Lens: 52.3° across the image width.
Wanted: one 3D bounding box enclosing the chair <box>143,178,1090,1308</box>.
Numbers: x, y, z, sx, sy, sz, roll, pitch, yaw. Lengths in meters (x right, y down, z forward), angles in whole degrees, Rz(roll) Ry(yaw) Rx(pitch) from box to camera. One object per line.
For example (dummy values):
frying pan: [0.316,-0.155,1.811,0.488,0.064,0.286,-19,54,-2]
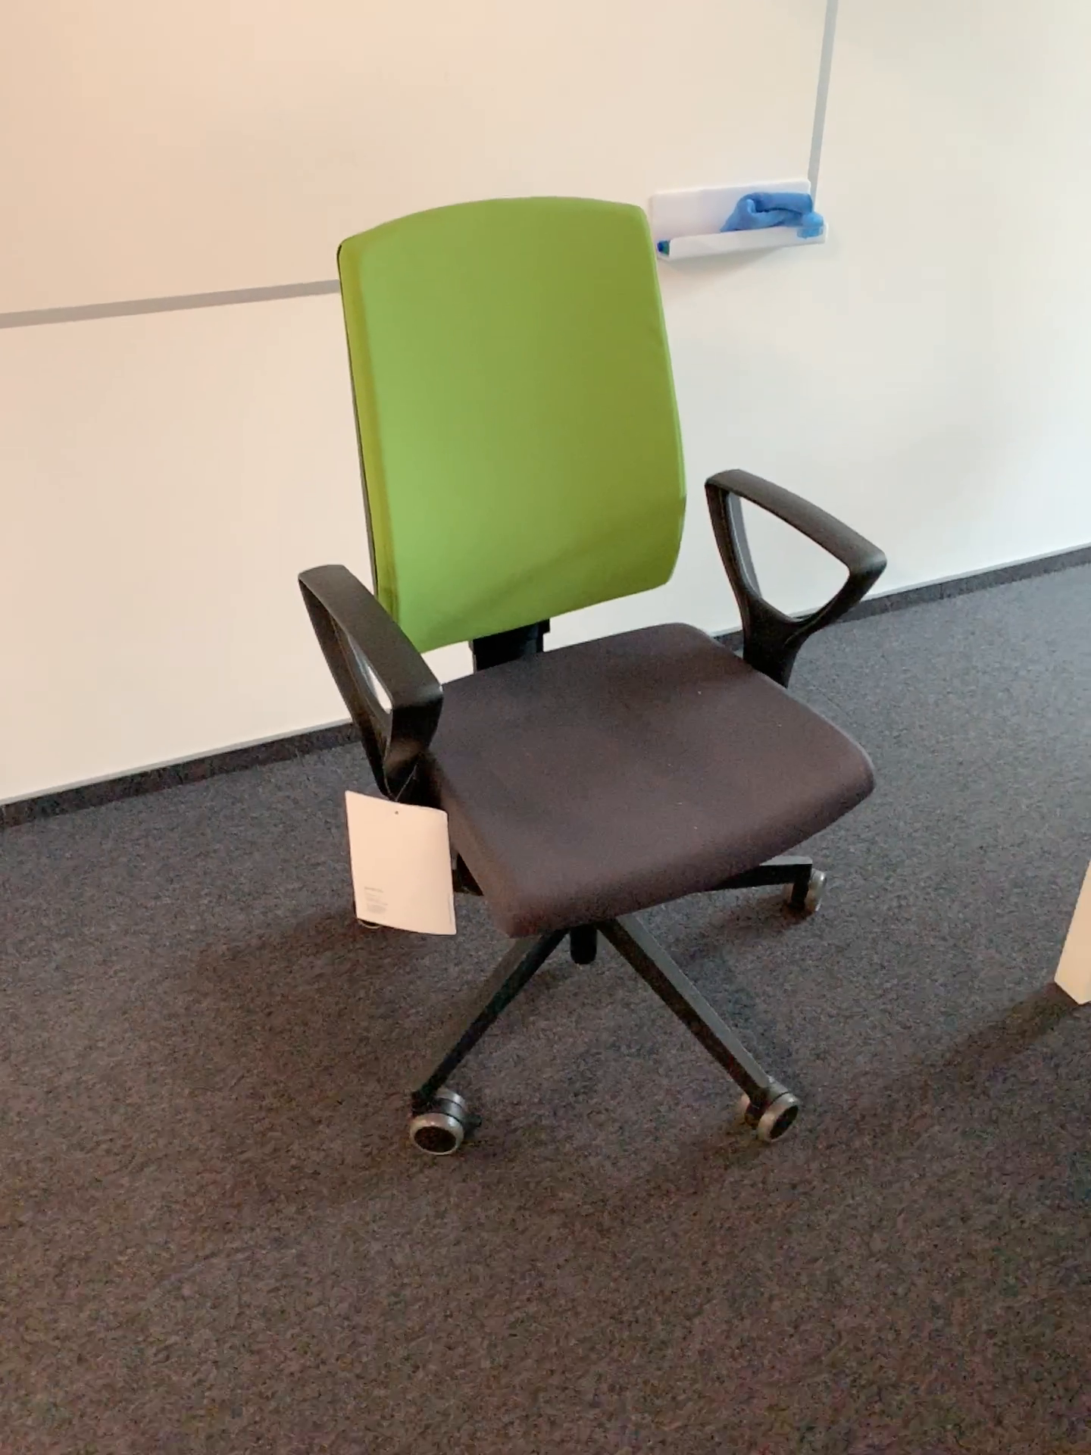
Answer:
chair: [0.082,-0.057,1.353,0.762,0.965,0.732,-18,38,-24]
